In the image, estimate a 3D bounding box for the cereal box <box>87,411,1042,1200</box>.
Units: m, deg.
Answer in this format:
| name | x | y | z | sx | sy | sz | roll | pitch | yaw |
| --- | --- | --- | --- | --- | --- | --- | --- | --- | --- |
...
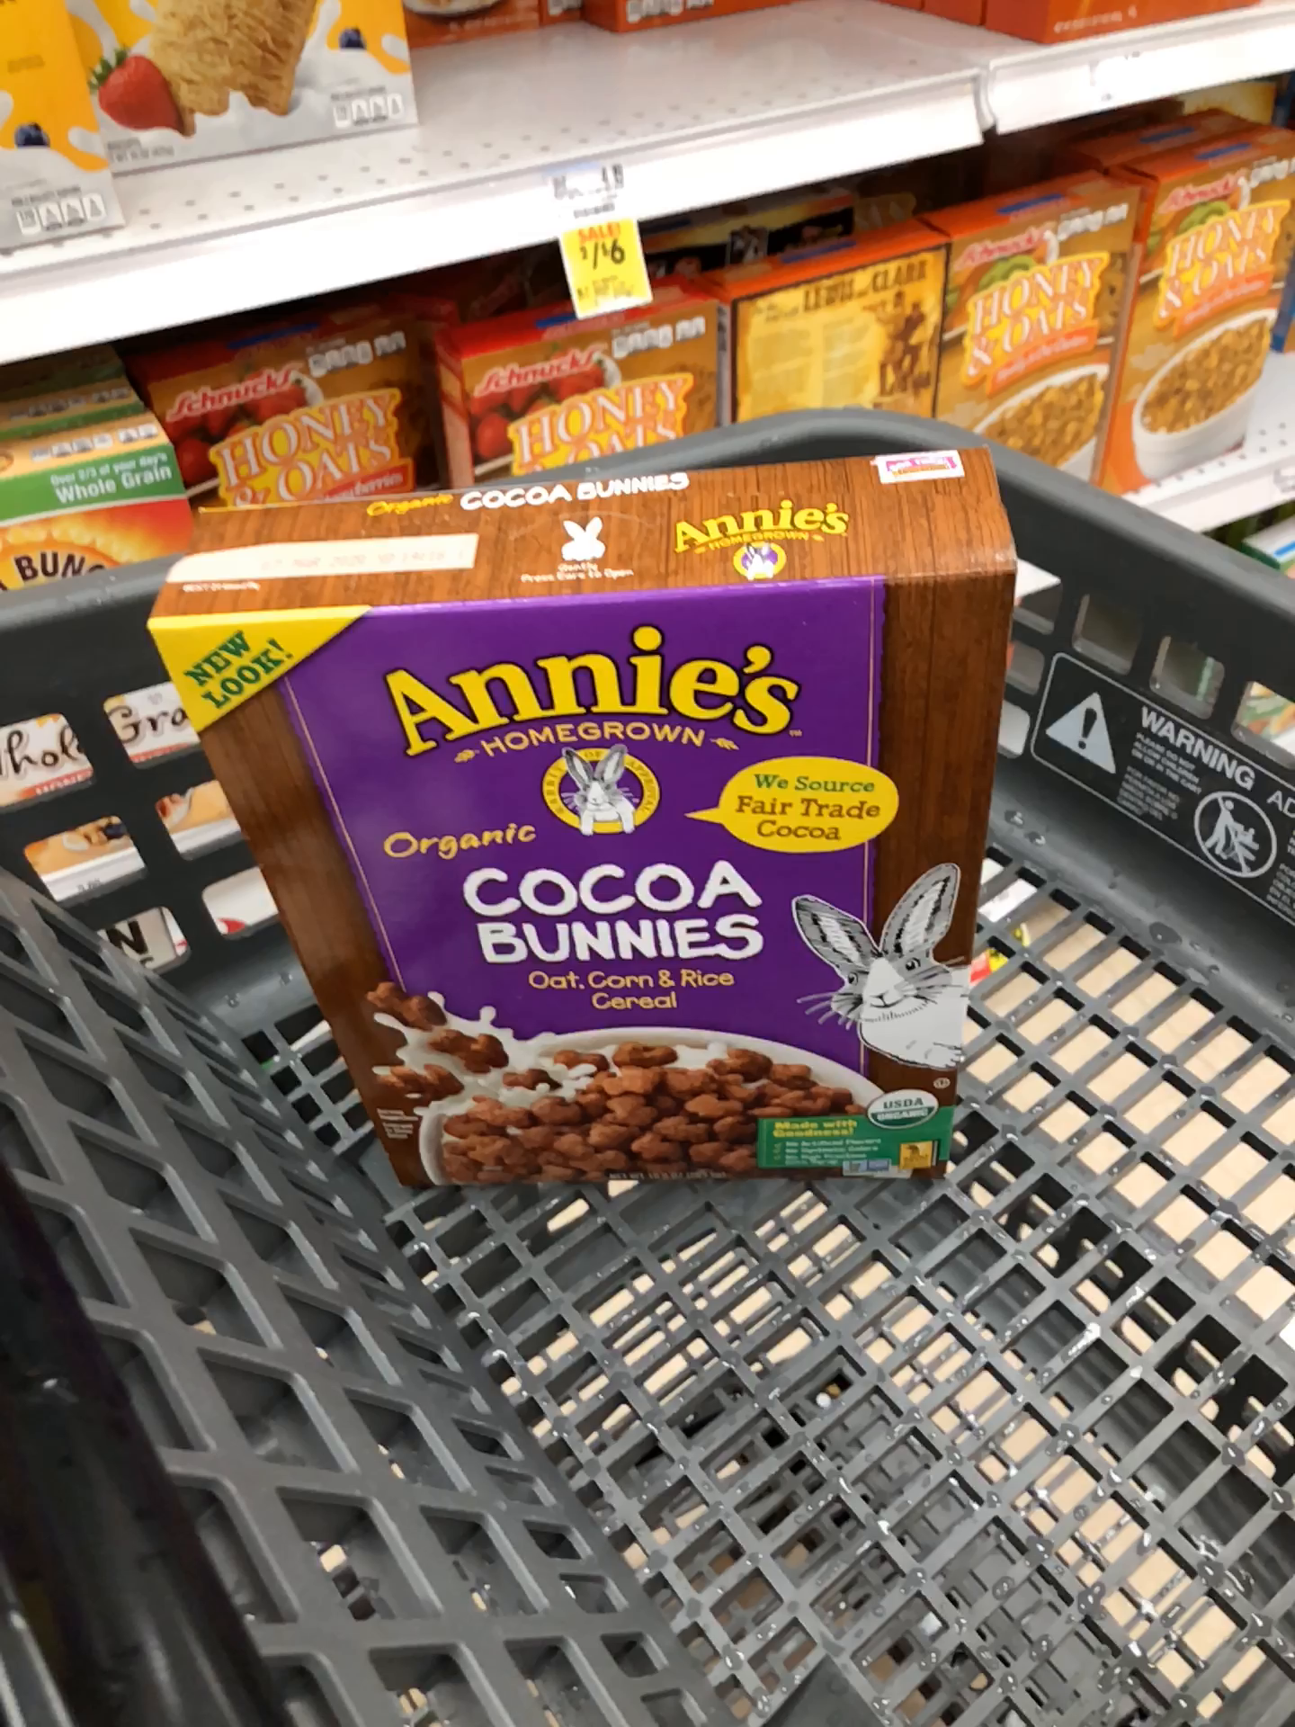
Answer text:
| name | x | y | z | sx | sy | sz | roll | pitch | yaw |
| --- | --- | --- | --- | --- | --- | --- | --- | --- | --- |
| cereal box | -0.010 | 0.004 | 0.400 | 0.200 | 0.240 | 0.050 | -3 | 45 | 4 |
